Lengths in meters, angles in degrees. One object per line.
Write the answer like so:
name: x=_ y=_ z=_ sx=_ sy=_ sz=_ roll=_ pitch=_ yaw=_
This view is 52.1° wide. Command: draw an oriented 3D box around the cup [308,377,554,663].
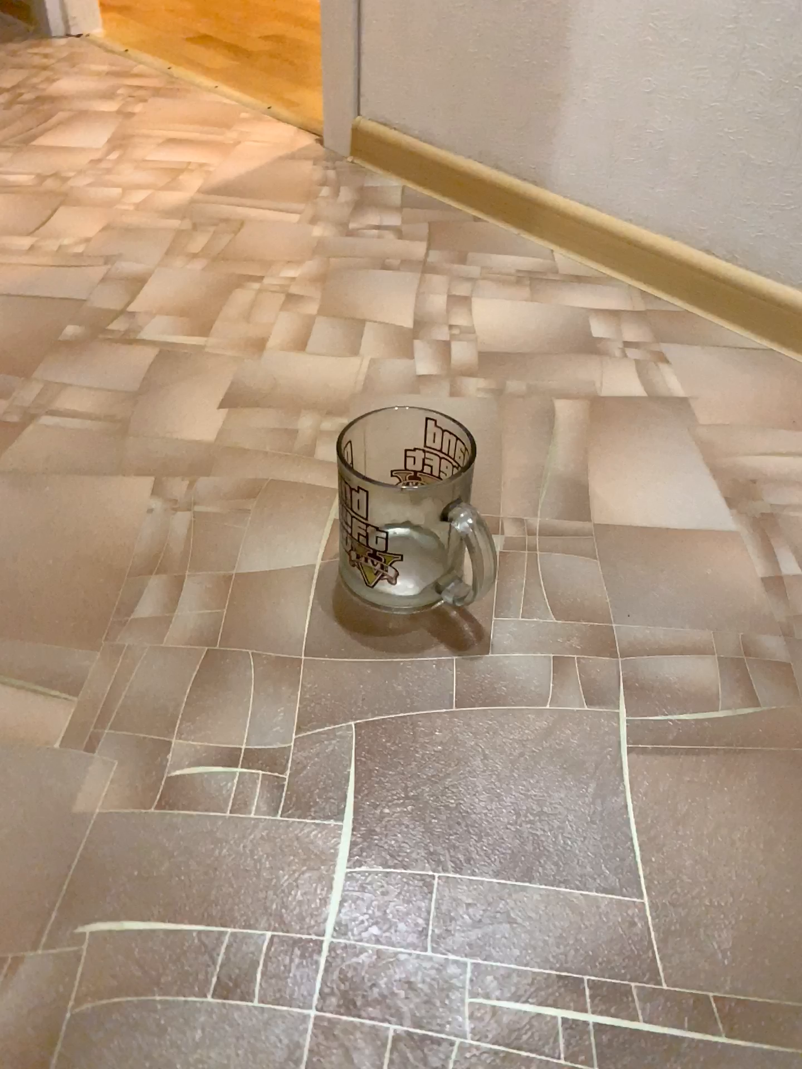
cup: x=0.012 y=-0.010 z=0.450 sx=0.082 sy=0.097 sz=0.098 roll=-29 pitch=51 yaw=-31
